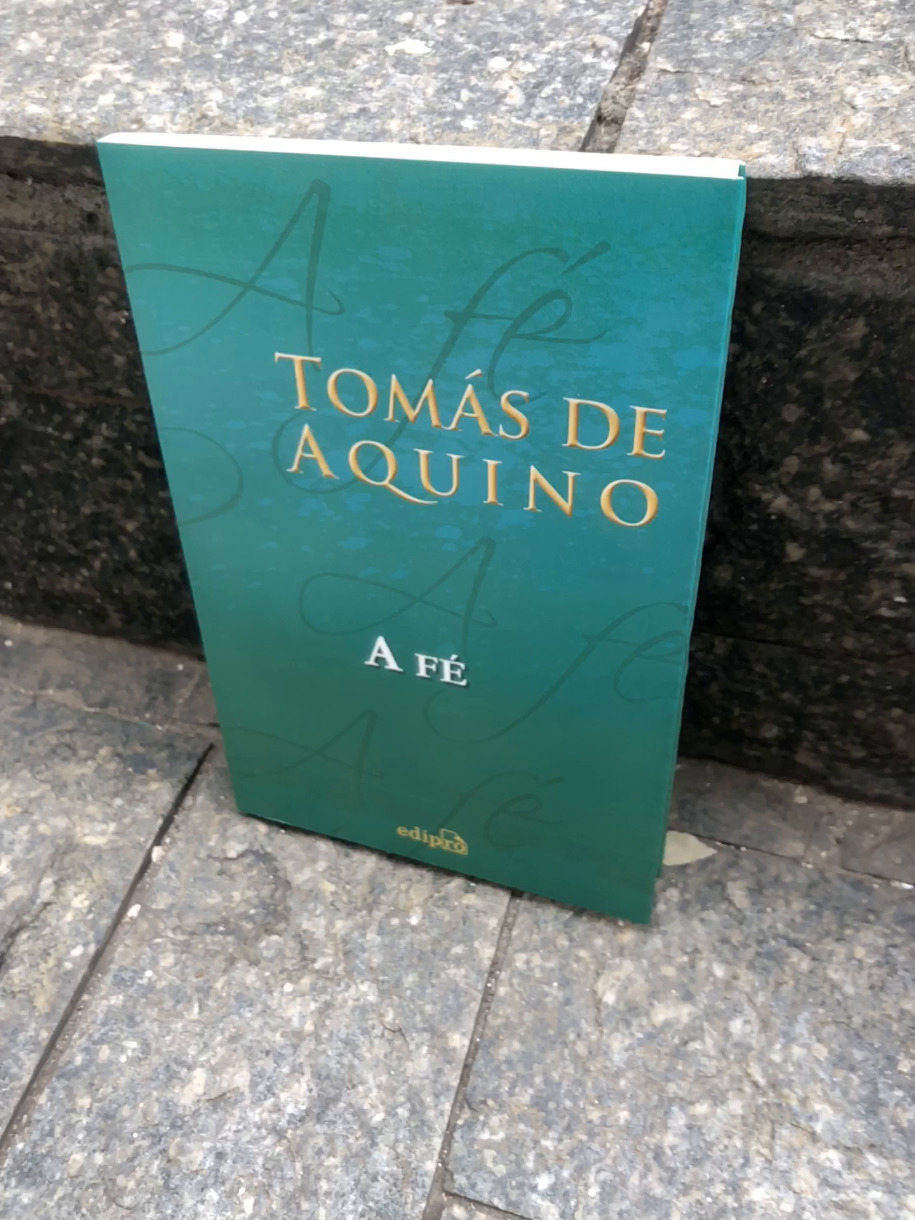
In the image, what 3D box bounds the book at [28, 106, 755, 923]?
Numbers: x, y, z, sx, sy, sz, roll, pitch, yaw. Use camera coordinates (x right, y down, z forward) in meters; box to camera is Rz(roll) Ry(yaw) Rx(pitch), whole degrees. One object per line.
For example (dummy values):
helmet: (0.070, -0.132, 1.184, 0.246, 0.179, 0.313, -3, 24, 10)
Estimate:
book: (-0.016, -0.011, 0.256, 0.142, 0.199, 0.020, 11, 38, 16)
